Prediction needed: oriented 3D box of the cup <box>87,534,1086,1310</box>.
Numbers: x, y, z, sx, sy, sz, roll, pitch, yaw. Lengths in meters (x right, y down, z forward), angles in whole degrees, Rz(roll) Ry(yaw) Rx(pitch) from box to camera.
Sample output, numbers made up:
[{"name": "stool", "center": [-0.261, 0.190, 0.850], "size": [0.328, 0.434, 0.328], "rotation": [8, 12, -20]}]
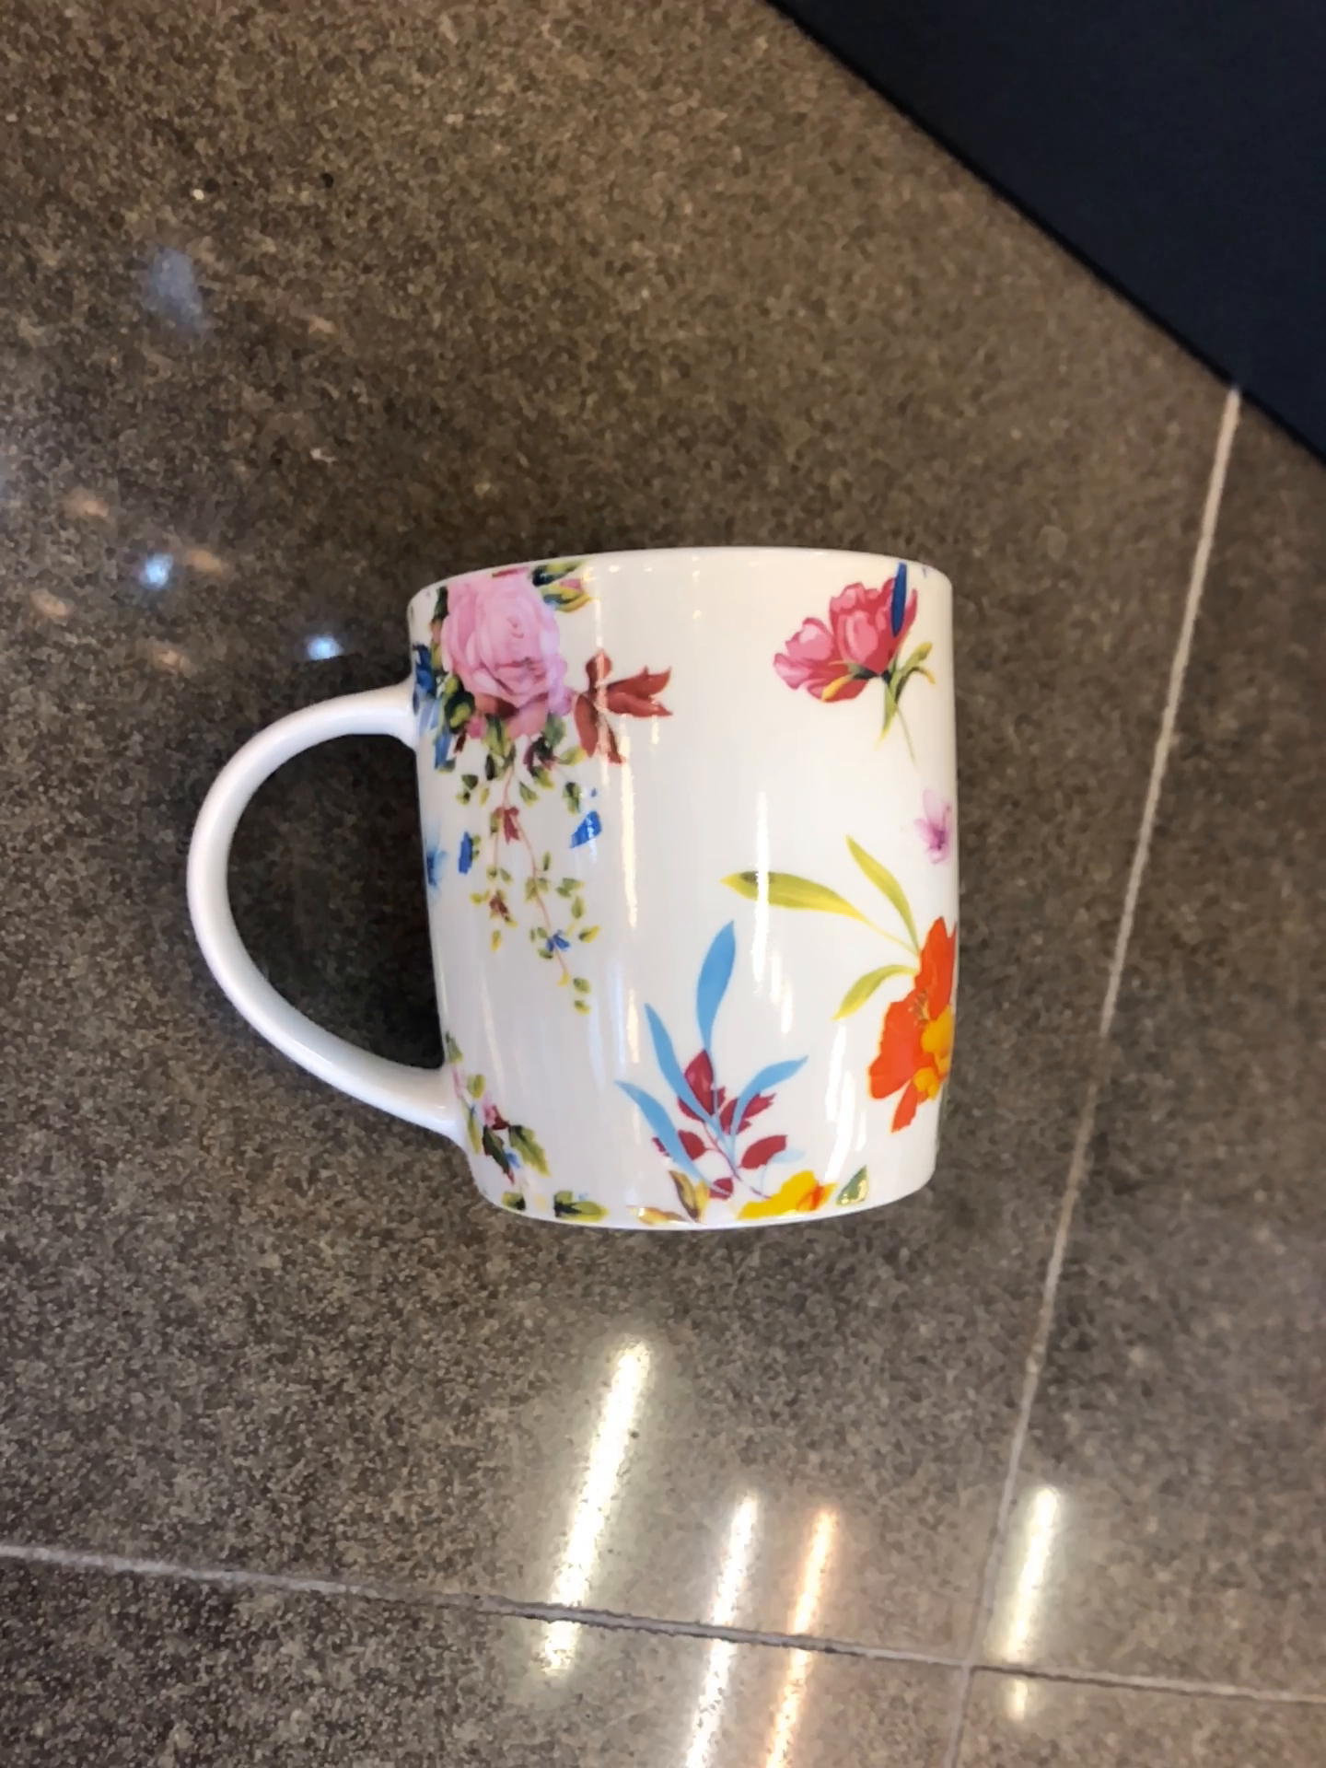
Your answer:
[{"name": "cup", "center": [-0.009, 0.005, 0.226], "size": [0.120, 0.080, 0.090], "rotation": [-3, 90, 1]}]
